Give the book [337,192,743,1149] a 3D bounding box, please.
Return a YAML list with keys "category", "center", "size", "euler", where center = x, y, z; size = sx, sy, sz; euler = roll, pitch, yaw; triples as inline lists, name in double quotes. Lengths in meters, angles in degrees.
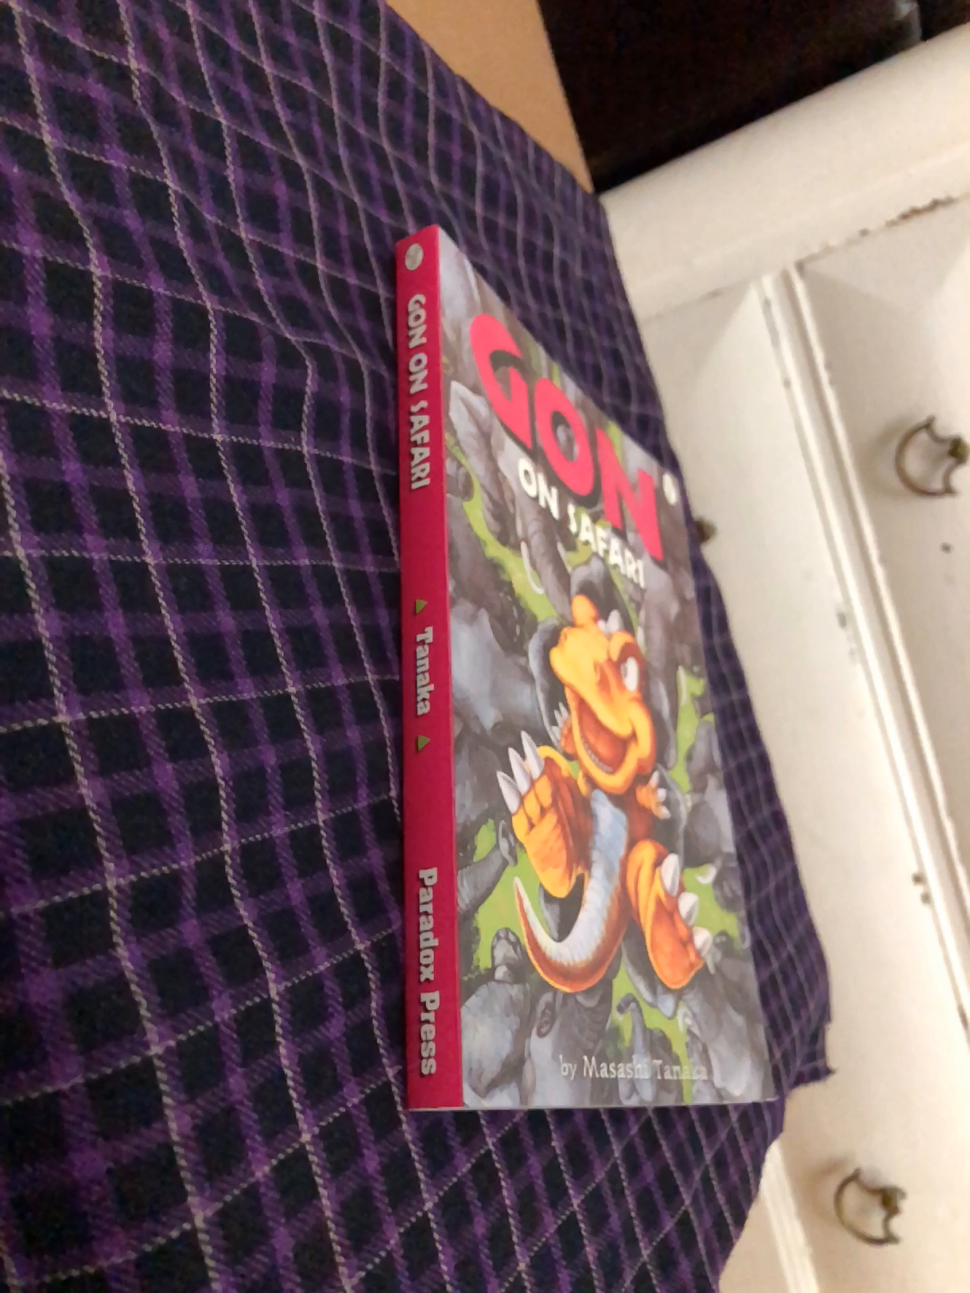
- category: "book"
  center: [0.018, 0.013, 0.284]
  size: [0.151, 0.020, 0.210]
  euler: [33, 48, -52]
